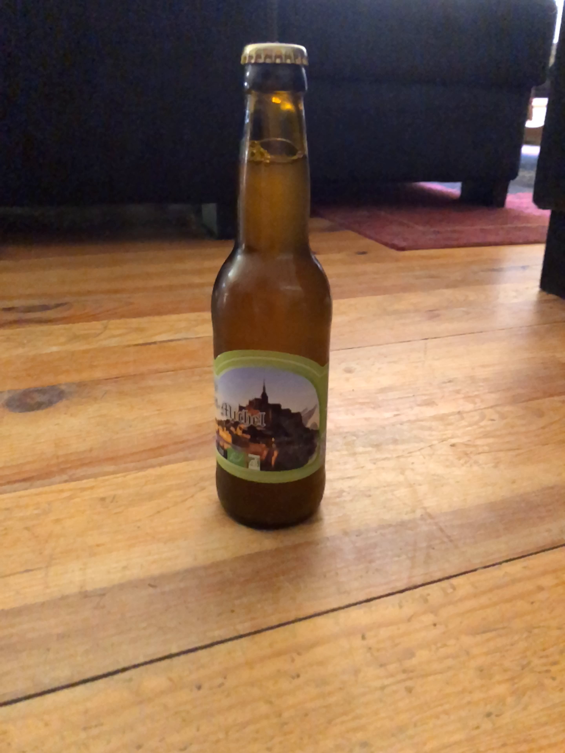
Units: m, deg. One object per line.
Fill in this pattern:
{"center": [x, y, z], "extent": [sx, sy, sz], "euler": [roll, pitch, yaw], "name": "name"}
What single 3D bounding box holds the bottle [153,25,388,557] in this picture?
{"center": [-0.006, -0.036, 0.305], "extent": [0.070, 0.229, 0.070], "euler": [1, 23, 0], "name": "bottle"}
